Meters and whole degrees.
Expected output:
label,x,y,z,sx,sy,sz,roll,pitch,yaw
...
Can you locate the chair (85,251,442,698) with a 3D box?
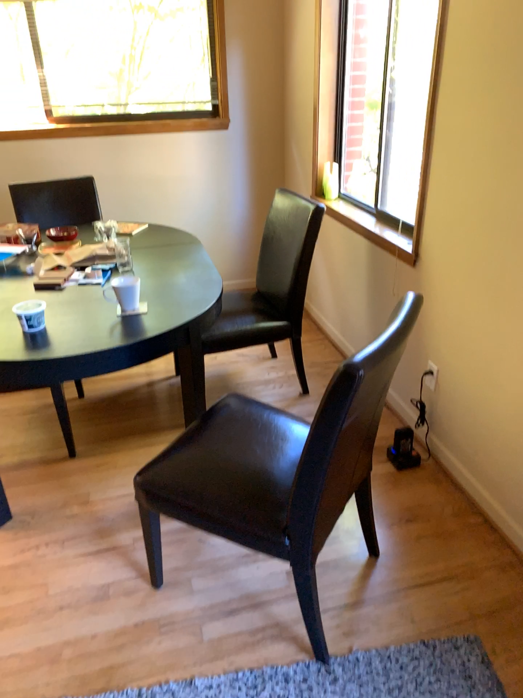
label,x,y,z,sx,sy,sz,roll,pitch,yaw
chair,0.054,0.369,1.536,0.652,1.084,0.622,13,30,26
